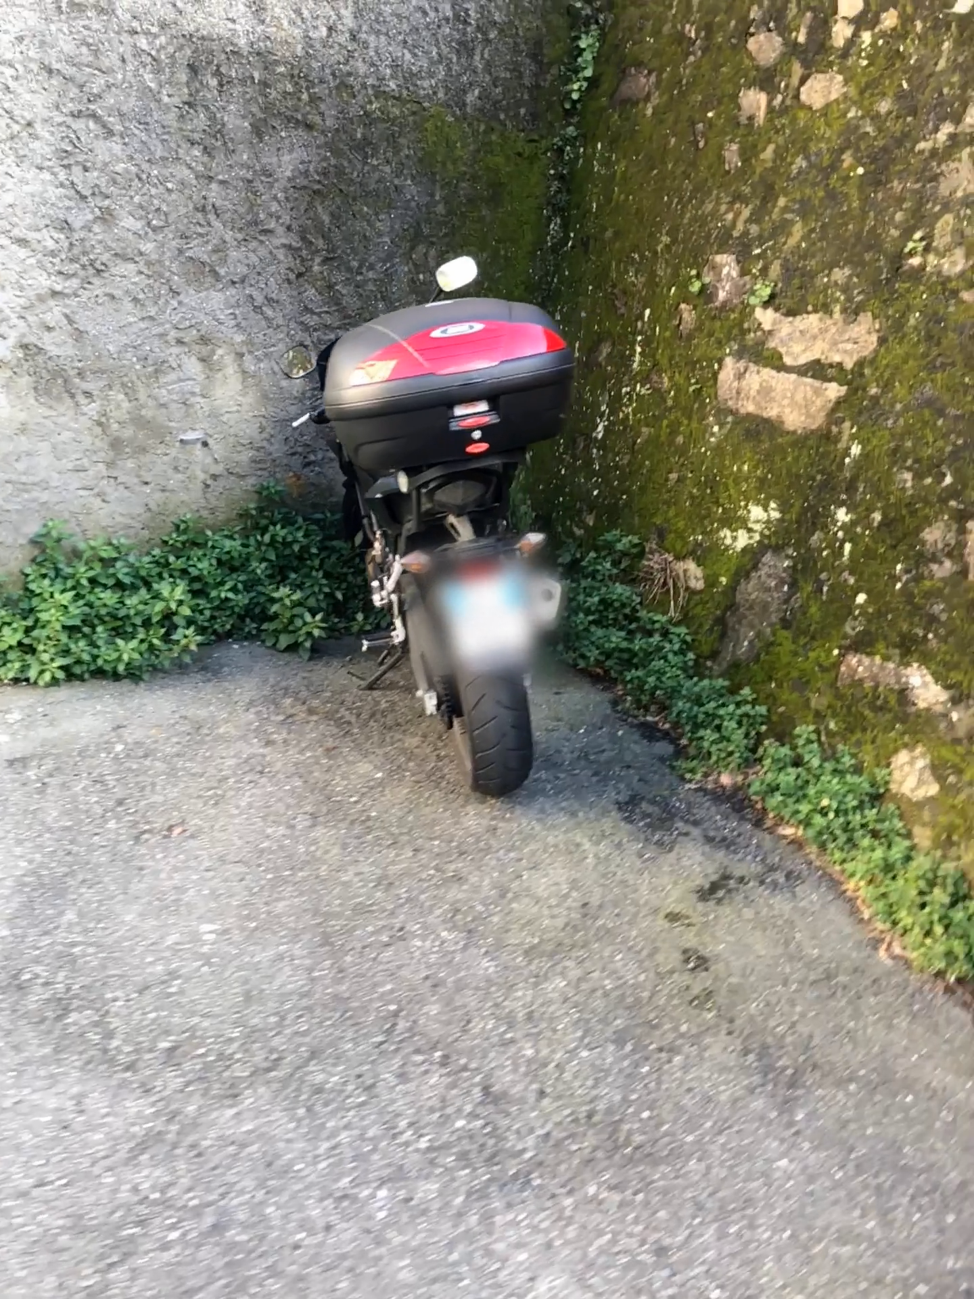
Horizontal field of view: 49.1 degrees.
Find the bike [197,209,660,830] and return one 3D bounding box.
[{"bbox_3d":[-0.350,-0.540,3.232,0.711,1.198,1.791,-3,25,-23],"label":"bike"}]
